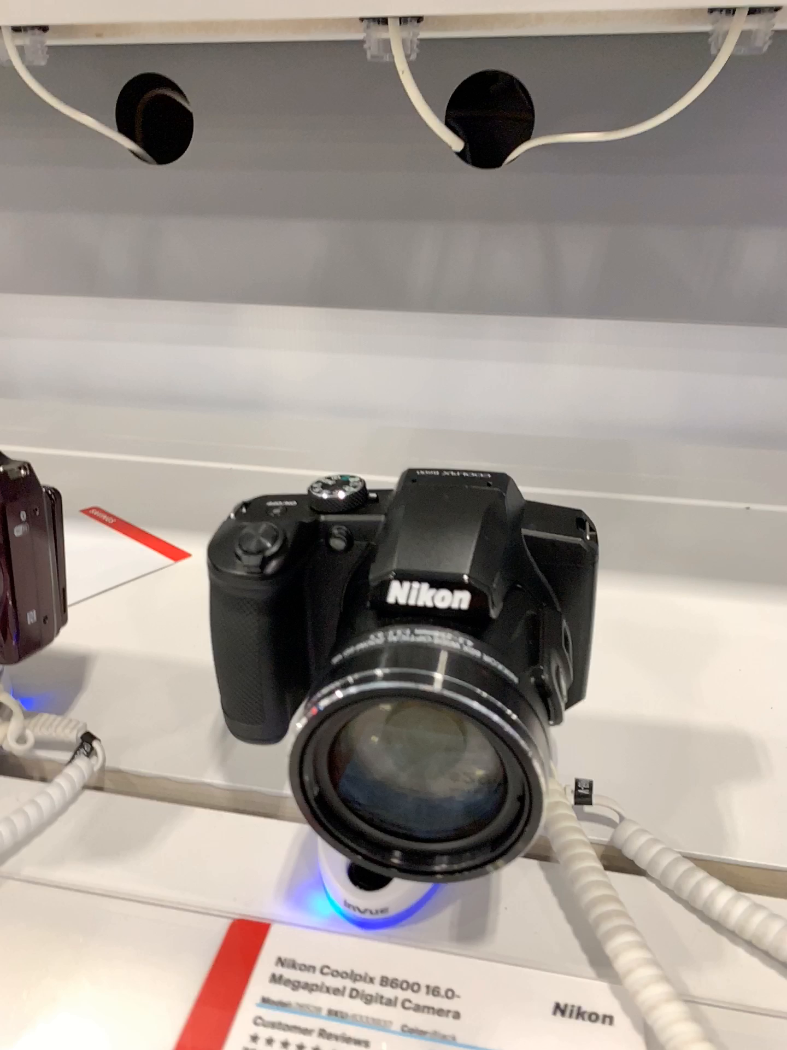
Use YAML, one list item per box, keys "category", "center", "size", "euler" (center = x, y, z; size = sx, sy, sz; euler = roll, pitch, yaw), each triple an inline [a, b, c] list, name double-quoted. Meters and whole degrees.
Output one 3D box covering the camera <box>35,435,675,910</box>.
- category: "camera"
  center: [-0.003, 0.028, 0.226]
  size: [0.130, 0.070, 0.111]
  euler: [3, 24, 7]
